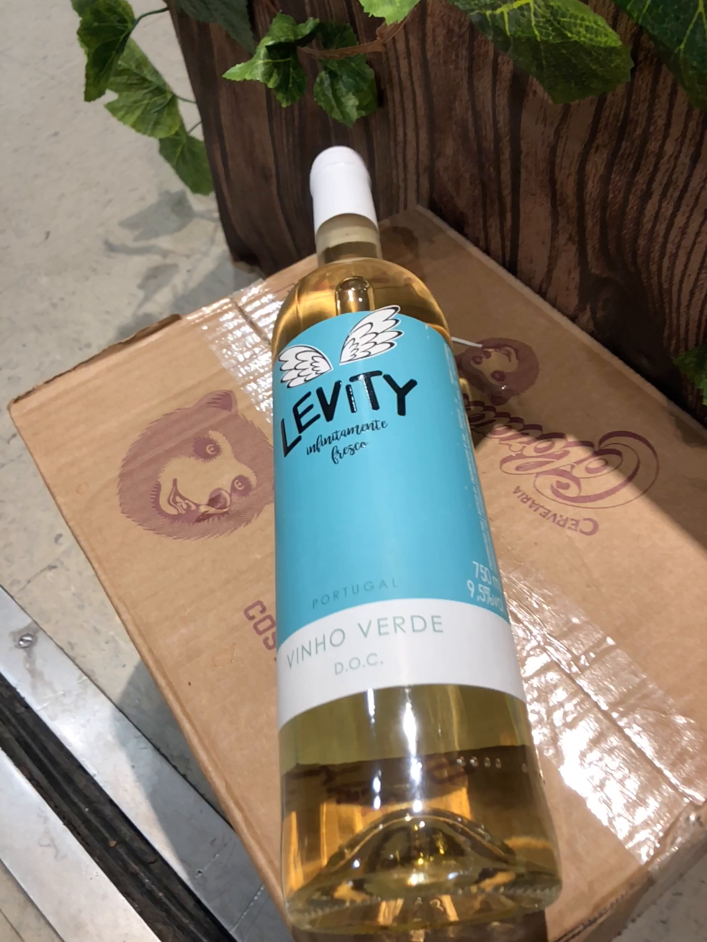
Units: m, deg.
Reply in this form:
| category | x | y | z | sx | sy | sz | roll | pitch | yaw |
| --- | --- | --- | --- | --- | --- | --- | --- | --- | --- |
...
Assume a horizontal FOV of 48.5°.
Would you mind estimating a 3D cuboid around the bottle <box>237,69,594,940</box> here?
| category | x | y | z | sx | sy | sz | roll | pitch | yaw |
| --- | --- | --- | --- | --- | --- | --- | --- | --- | --- |
| bottle | 0.003 | -0.029 | 0.292 | 0.080 | 0.050 | 0.342 | -6 | 56 | 1 |
